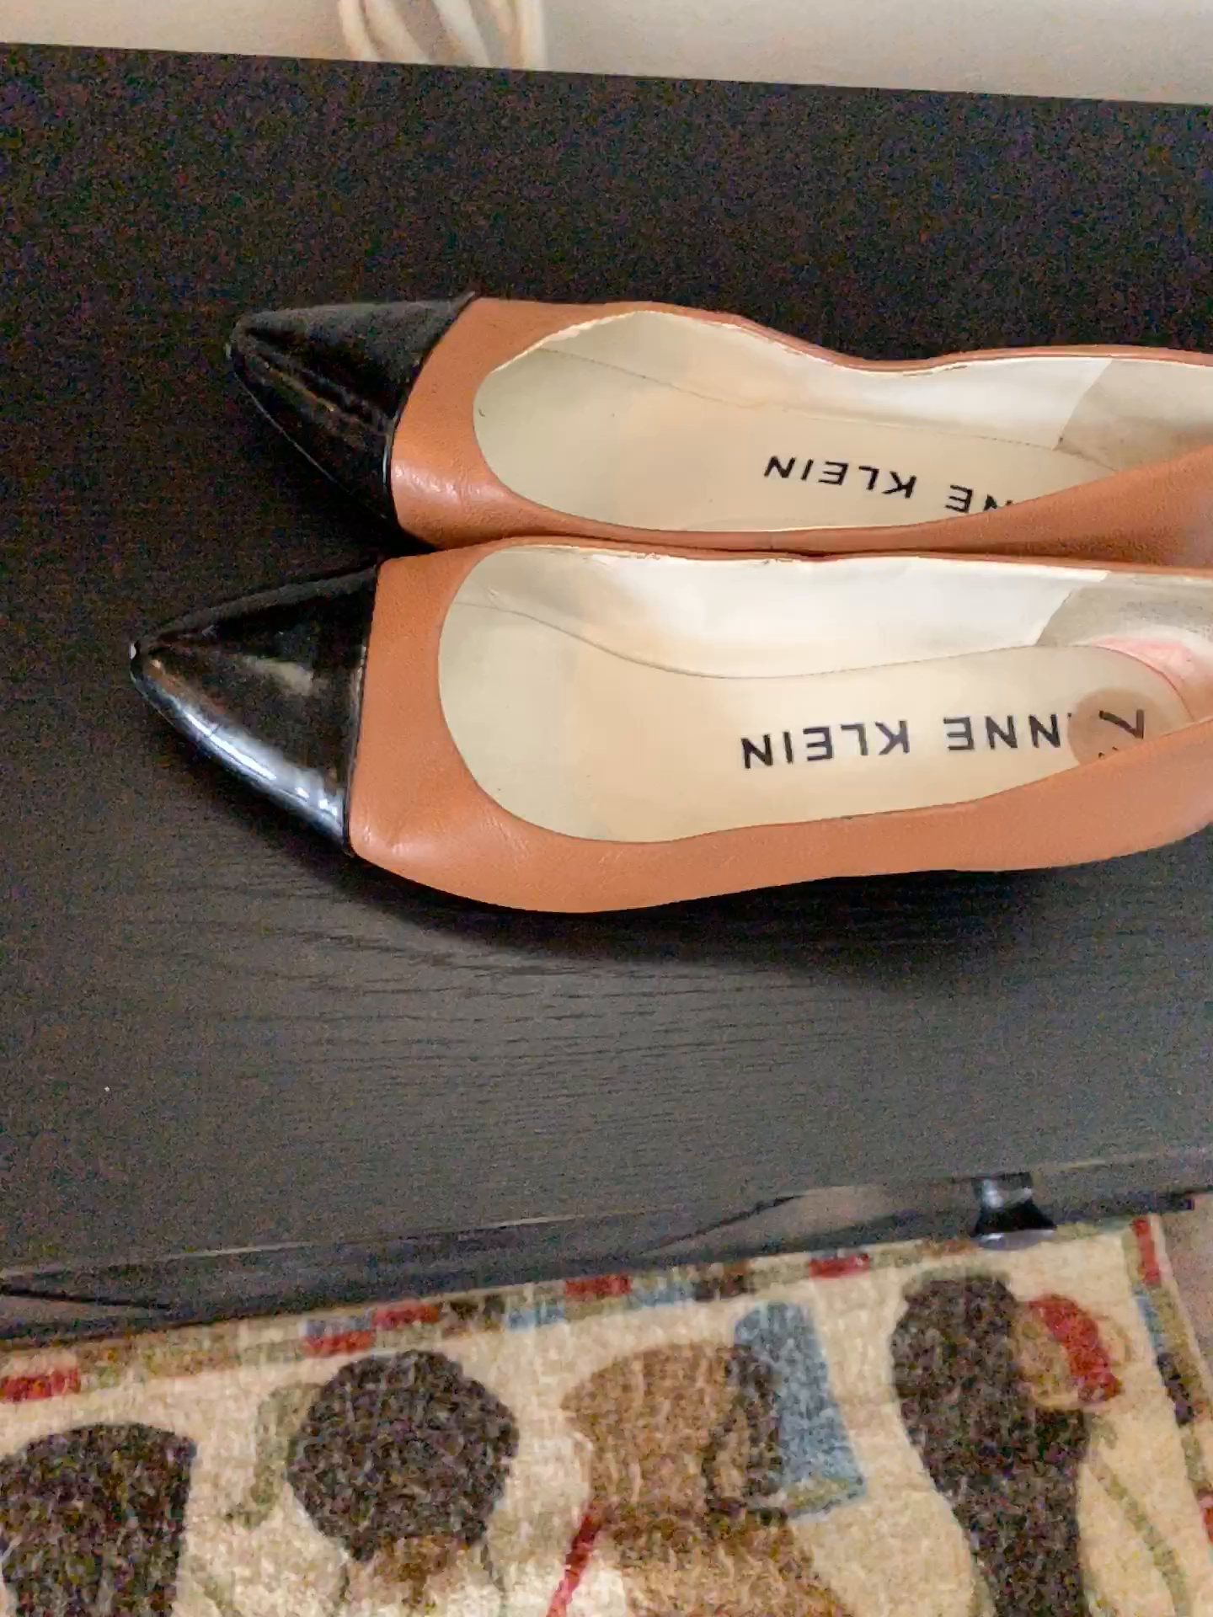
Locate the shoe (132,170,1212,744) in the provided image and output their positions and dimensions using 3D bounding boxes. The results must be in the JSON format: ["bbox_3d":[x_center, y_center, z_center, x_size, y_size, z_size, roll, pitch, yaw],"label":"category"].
[{"bbox_3d":[0.028,-0.091,0.321,0.260,0.080,0.080,10,66,11],"label":"shoe"}]

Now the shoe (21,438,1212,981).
[{"bbox_3d":[0.017,-0.024,0.294,0.260,0.080,0.091,2,64,9],"label":"shoe"}]
